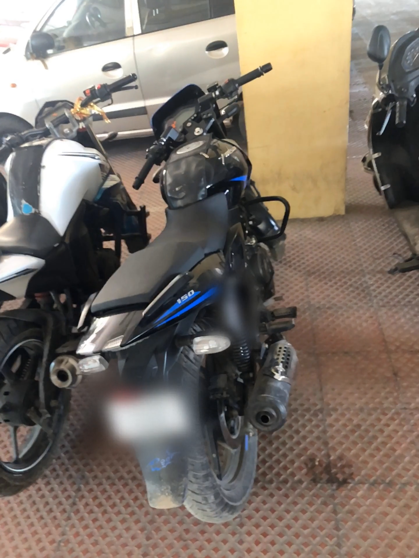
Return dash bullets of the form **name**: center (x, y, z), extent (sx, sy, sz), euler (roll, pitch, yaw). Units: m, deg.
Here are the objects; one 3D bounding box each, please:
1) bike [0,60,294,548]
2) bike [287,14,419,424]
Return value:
- **bike**: center (-0.154, -0.153, 1.854), extent (0.745, 0.988, 1.853), euler (-4, 34, 7)
- **bike**: center (0.943, -0.443, 2.191), extent (0.713, 1.222, 1.722), euler (-9, 34, 0)
